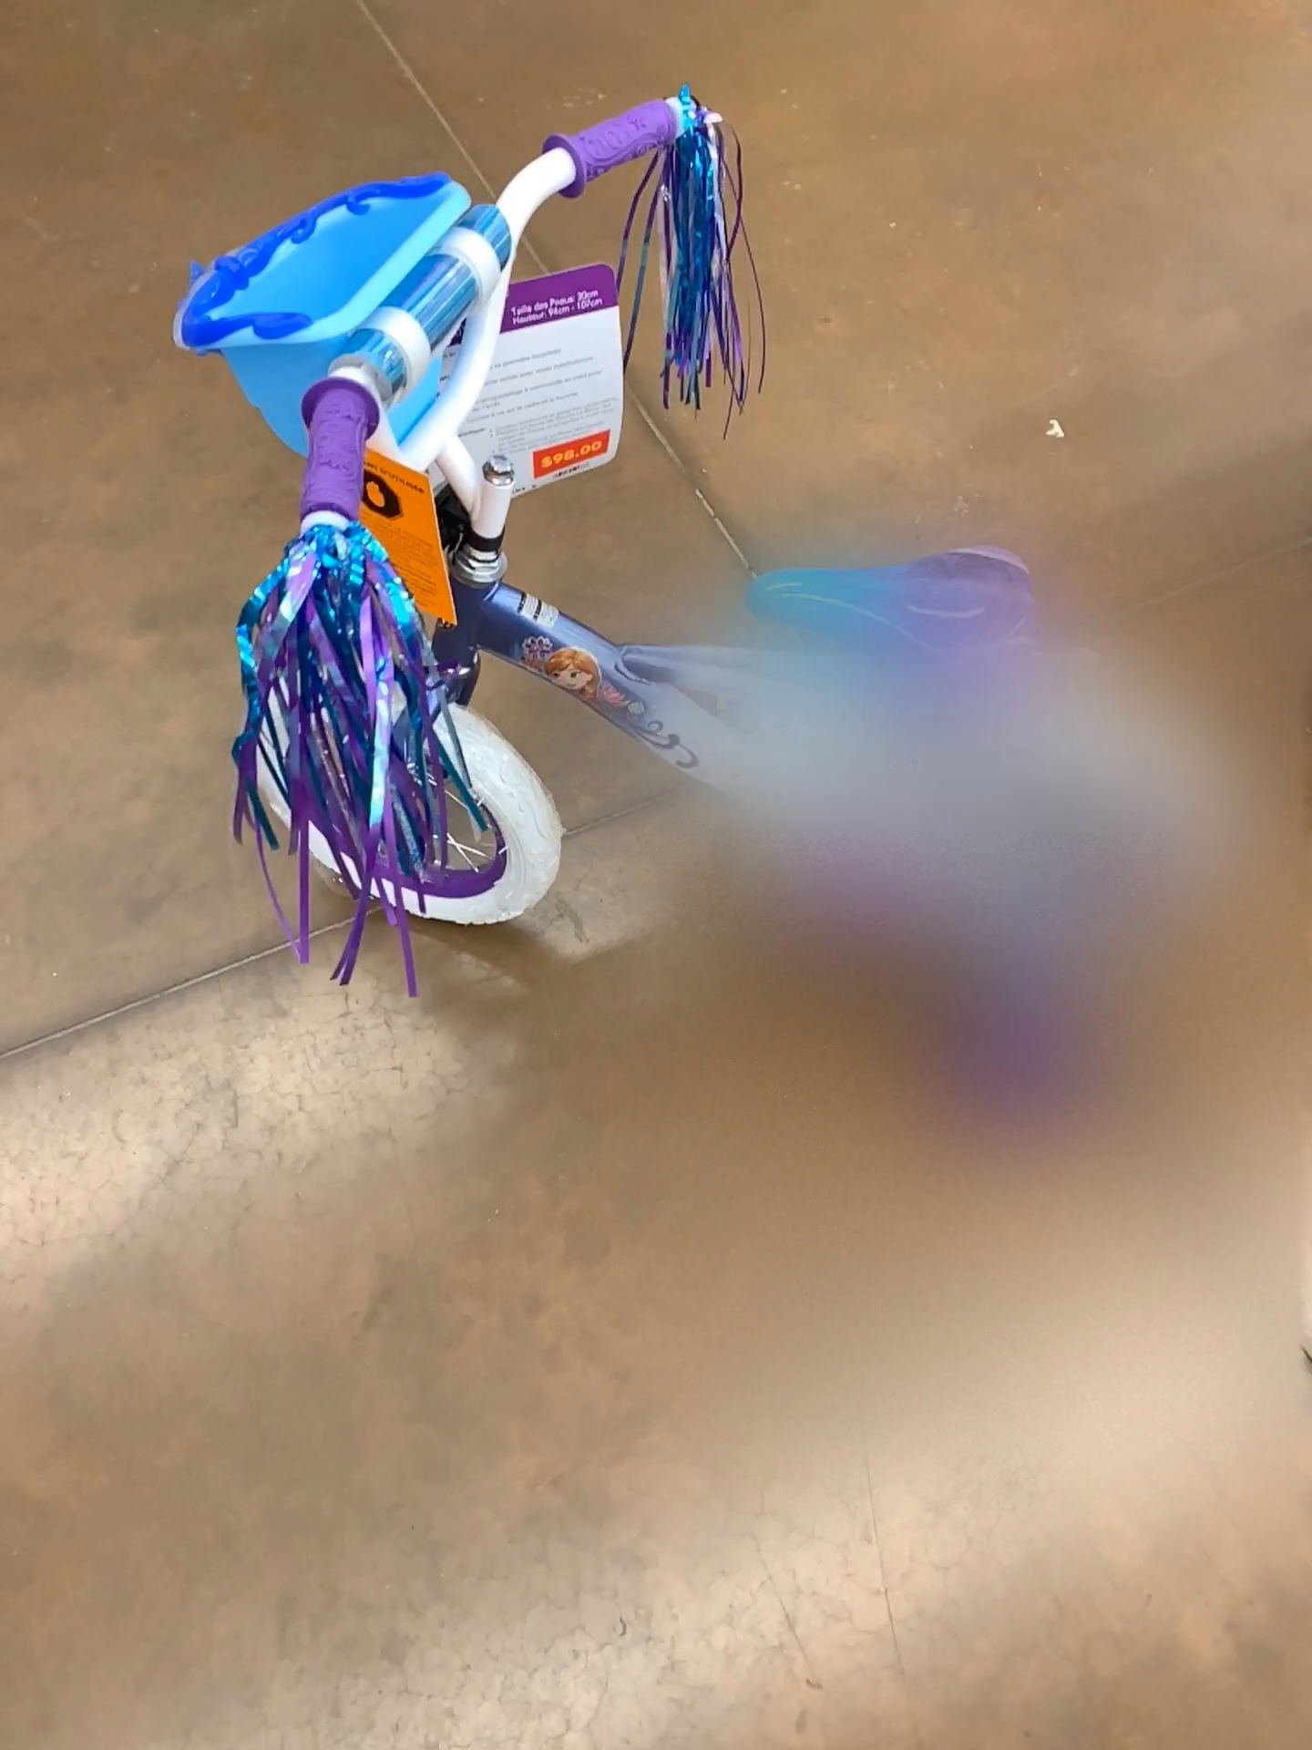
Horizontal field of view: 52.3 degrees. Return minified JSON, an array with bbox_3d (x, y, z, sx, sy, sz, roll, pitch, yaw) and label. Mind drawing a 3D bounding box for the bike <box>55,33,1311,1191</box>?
[{"bbox_3d":[0.120,-0.121,0.943,0.651,0.644,0.474,1,58,2],"label":"bike"}]
